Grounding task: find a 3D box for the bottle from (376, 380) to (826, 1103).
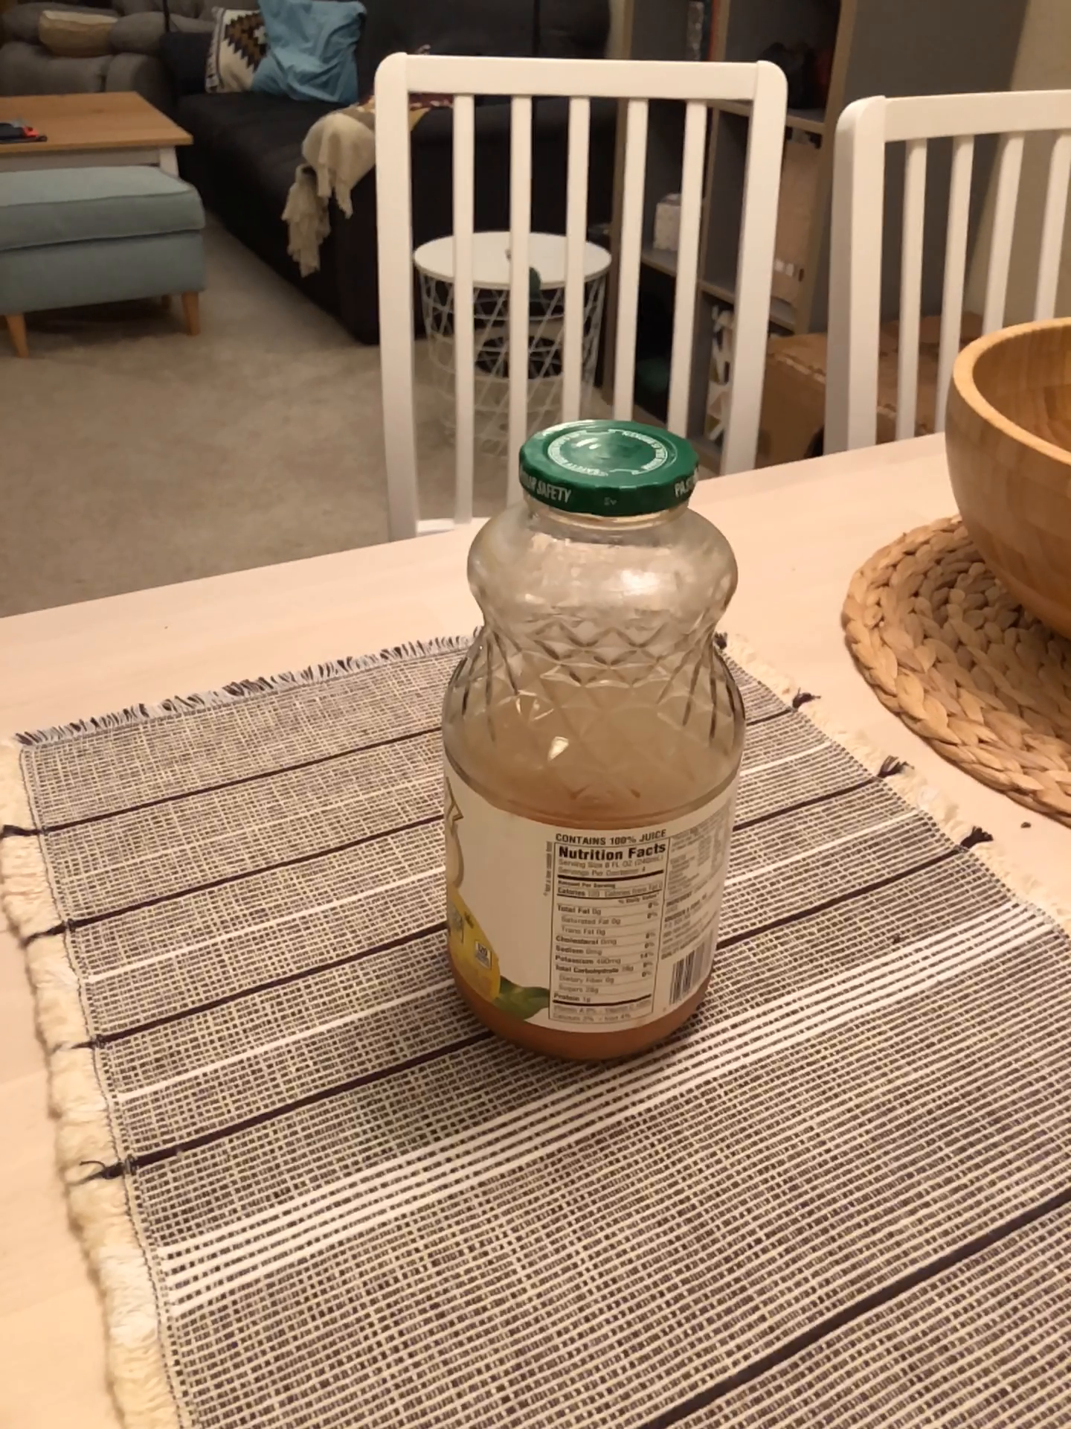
[{"bbox_3d":[0.021,0.009,0.375,0.100,0.189,0.101,1,34,-1],"label":"bottle"}]
